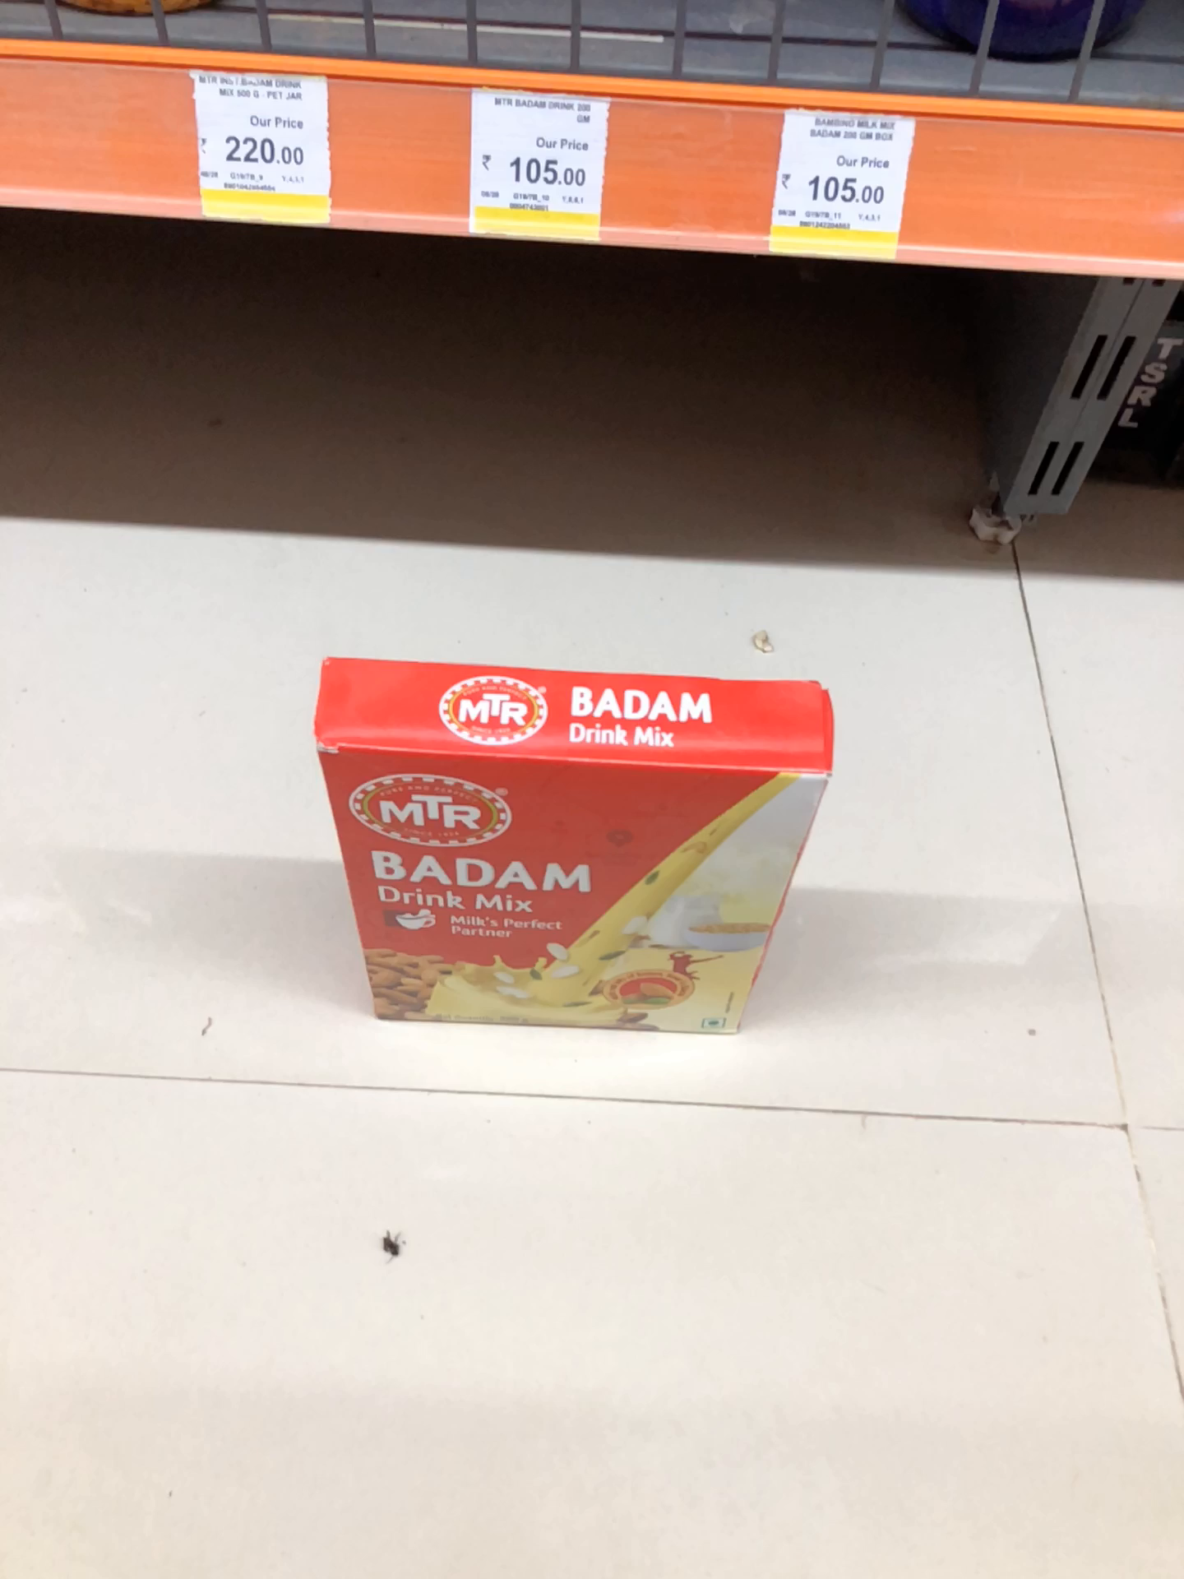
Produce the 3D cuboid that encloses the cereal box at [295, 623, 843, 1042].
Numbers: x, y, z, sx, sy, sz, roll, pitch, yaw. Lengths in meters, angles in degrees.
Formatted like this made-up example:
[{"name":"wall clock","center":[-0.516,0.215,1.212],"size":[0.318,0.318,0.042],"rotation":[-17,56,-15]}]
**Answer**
[{"name":"cereal box","center":[-0.008,0.022,0.387],"size":[0.130,0.159,0.040],"rotation":[2,56,-2]}]
